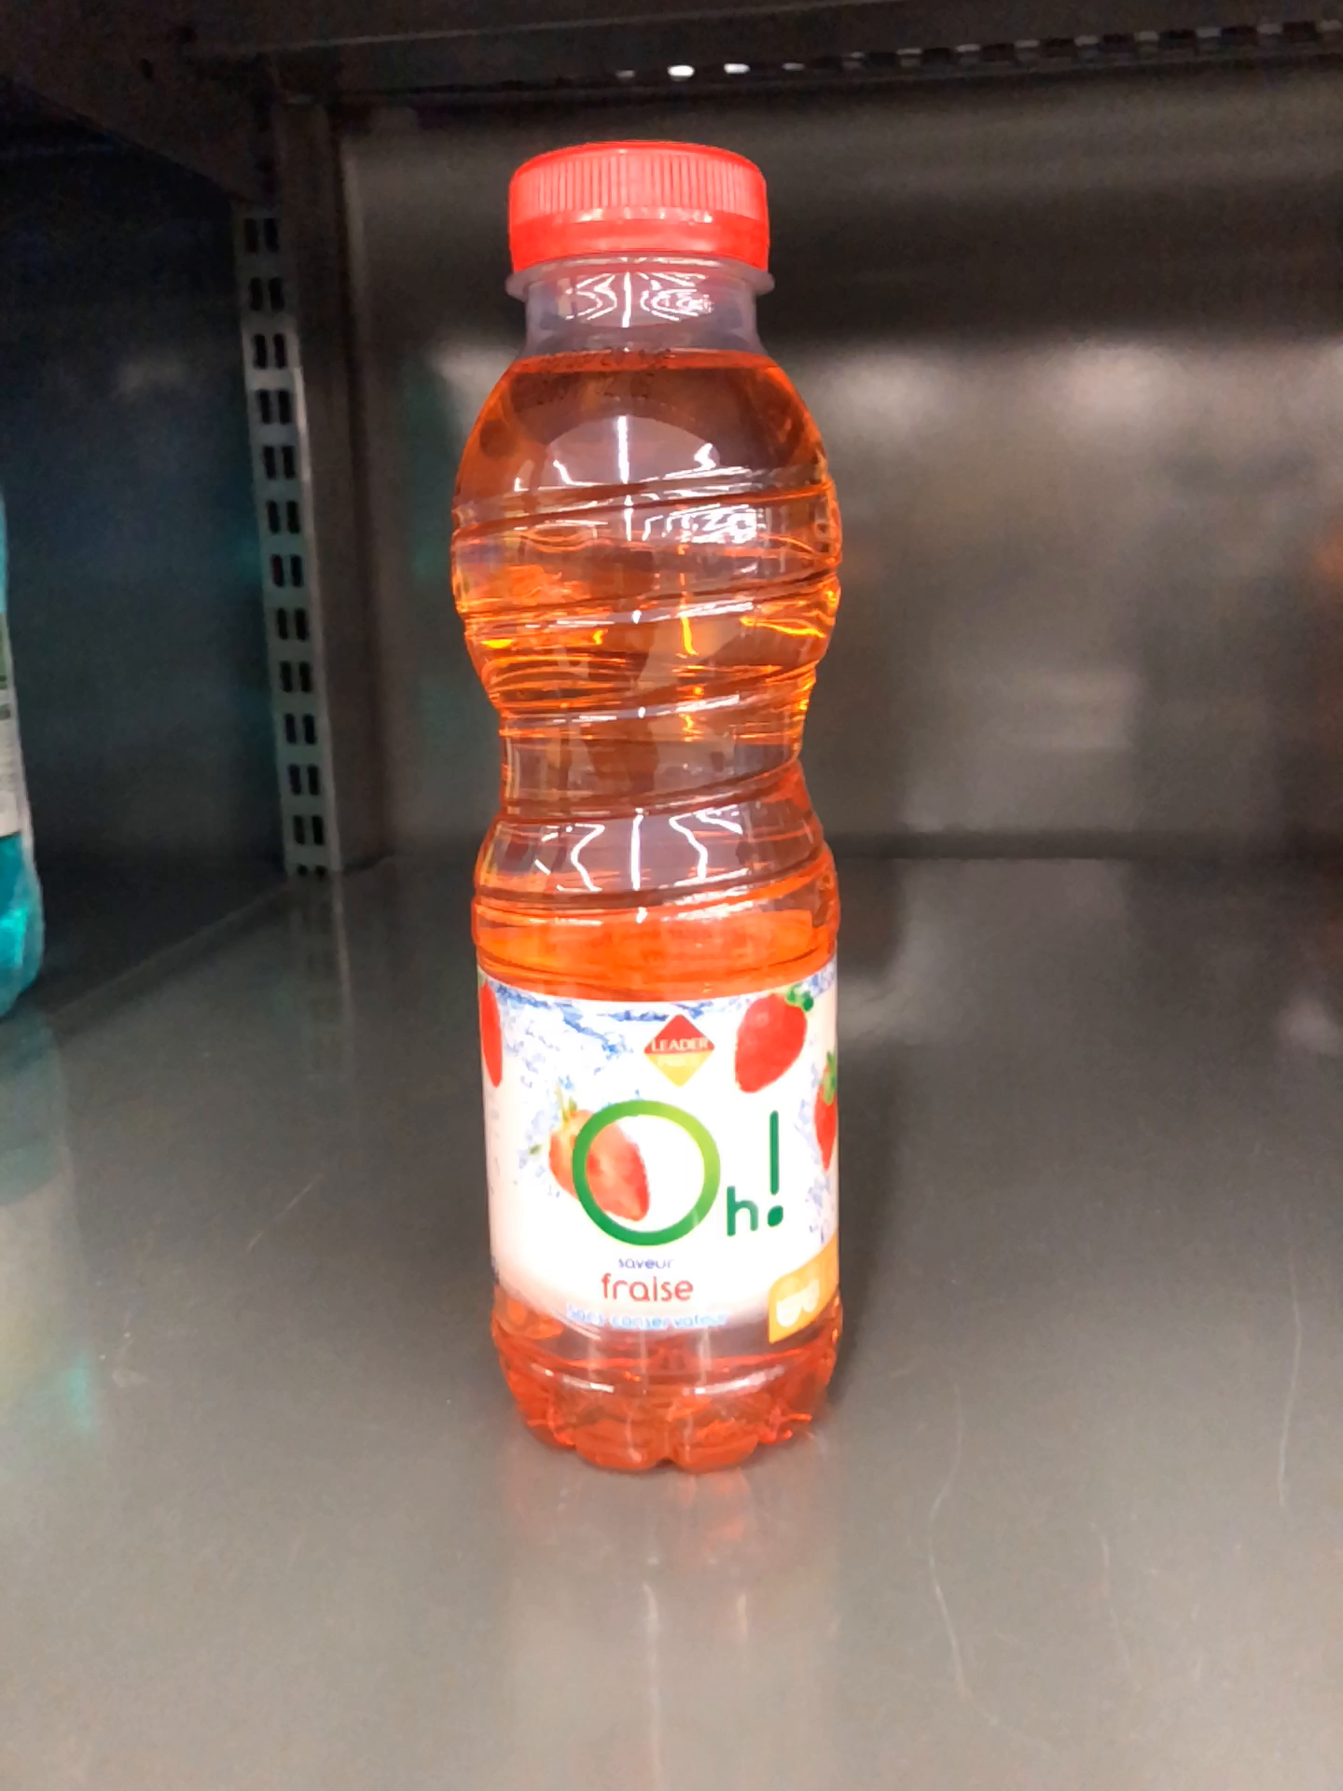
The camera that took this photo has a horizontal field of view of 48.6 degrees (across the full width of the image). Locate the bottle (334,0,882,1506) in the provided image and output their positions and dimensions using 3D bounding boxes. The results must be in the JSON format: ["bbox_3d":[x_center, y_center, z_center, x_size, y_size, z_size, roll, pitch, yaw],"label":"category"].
[{"bbox_3d":[-0.003,-0.016,0.238,0.070,0.209,0.060,0,12,6],"label":"bottle"}]
